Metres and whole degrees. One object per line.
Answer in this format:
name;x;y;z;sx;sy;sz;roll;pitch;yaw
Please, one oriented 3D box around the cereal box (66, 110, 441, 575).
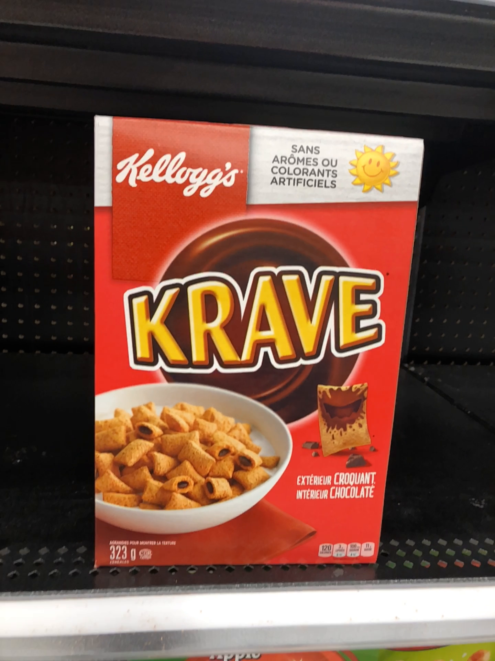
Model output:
cereal box;-0.004;0.017;0.356;0.210;0.279;0.050;2;12;-6
